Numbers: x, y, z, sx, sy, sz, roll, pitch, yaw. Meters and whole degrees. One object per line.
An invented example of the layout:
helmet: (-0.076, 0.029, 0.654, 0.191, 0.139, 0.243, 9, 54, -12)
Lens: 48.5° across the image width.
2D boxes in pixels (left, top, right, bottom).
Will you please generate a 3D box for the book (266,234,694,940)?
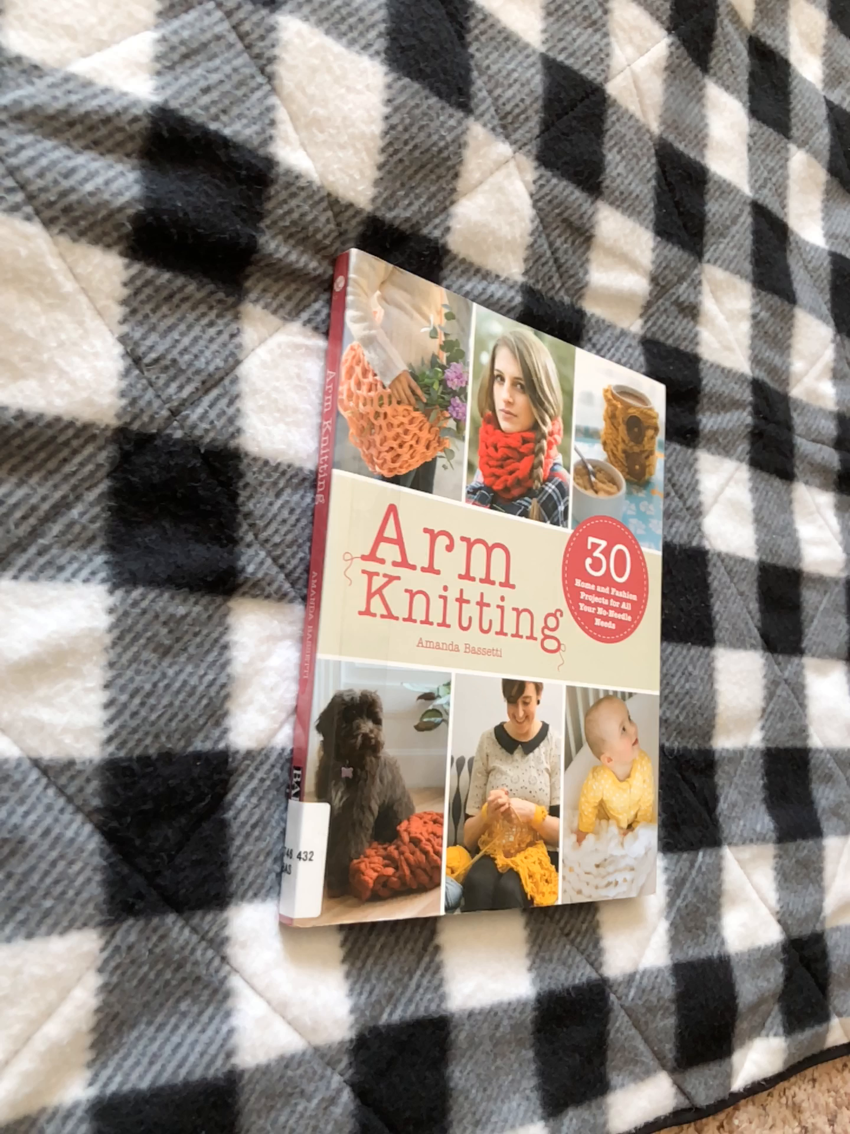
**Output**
book: (0.039, 0.016, 0.381, 0.197, 0.020, 0.238, 11, 78, -37)
